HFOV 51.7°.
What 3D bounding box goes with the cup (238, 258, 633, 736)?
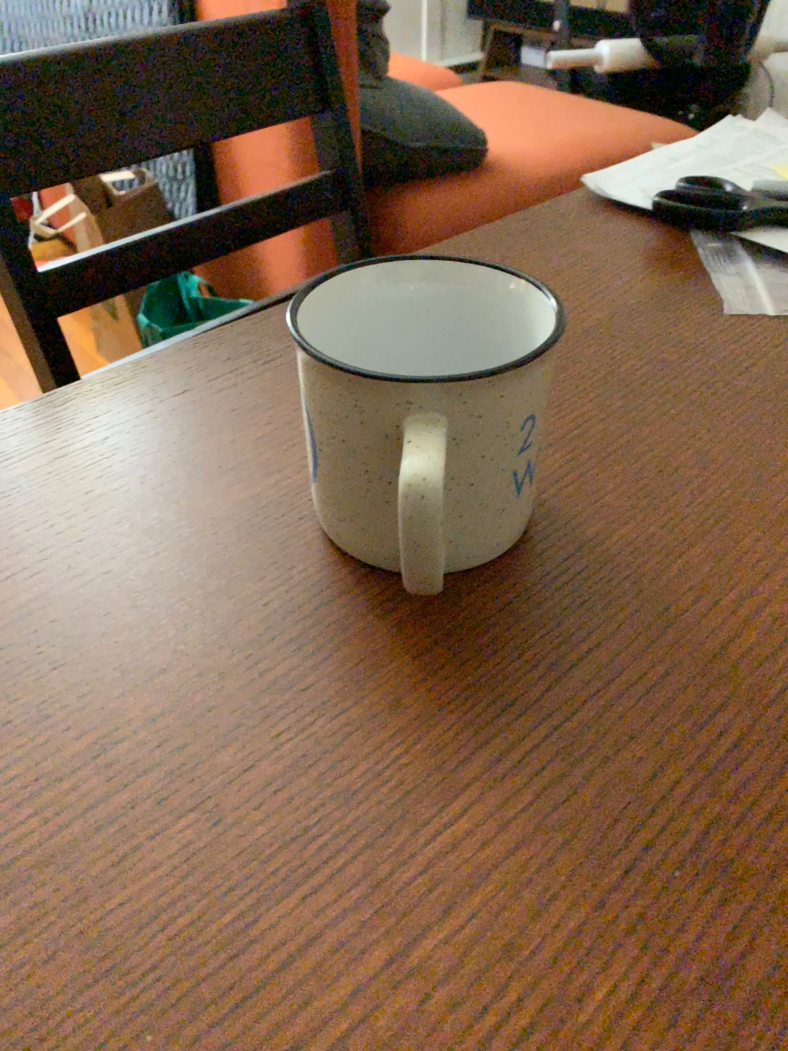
[{"bbox_3d":[0.014,-0.019,0.295,0.100,0.099,0.151,1,40,2],"label":"cup"}]
